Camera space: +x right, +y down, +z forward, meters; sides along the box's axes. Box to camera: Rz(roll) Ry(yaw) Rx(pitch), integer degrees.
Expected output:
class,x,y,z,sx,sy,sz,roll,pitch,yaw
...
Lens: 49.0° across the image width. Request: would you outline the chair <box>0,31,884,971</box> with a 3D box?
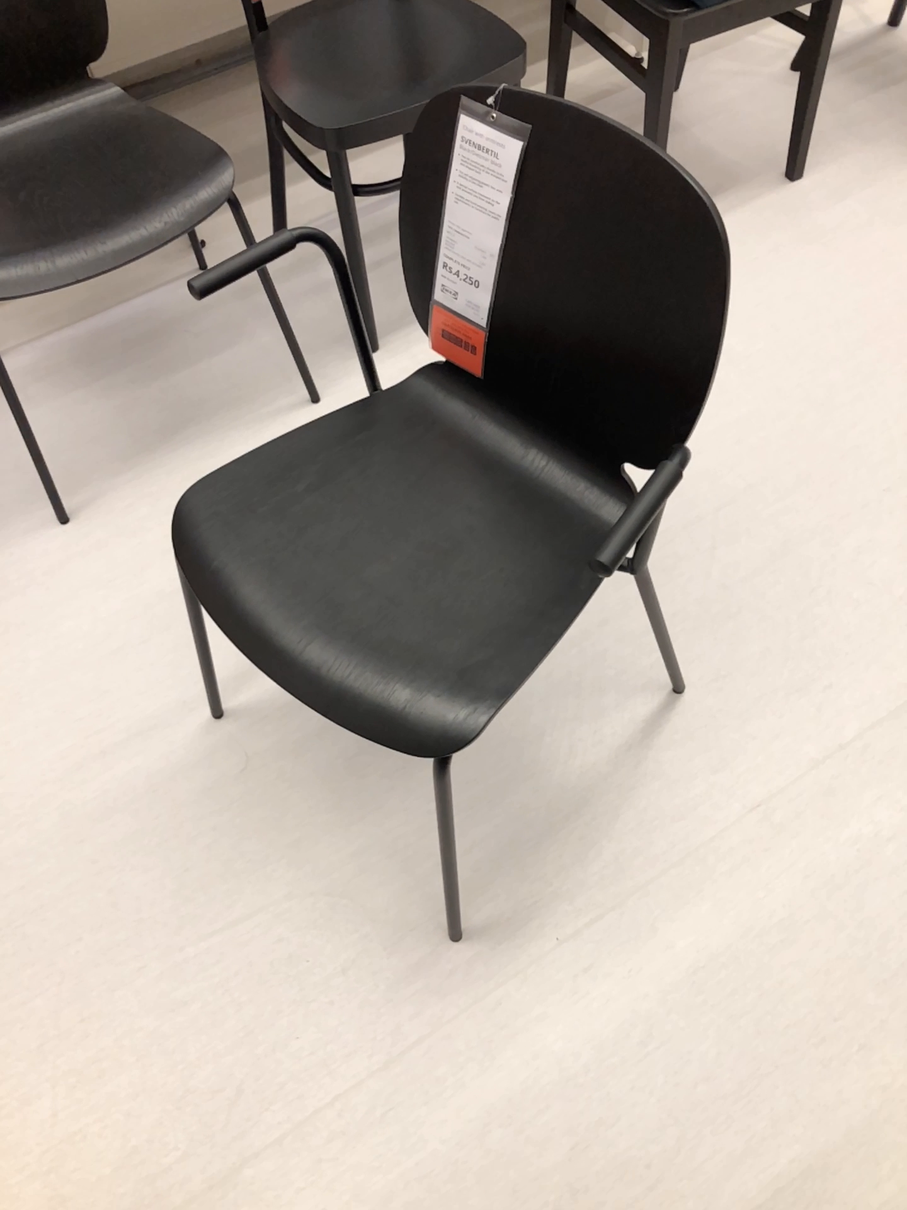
class,x,y,z,sx,sy,sz,roll,pitch,yaw
chair,-0.021,-0.083,1.112,0.532,0.687,0.581,39,67,25
